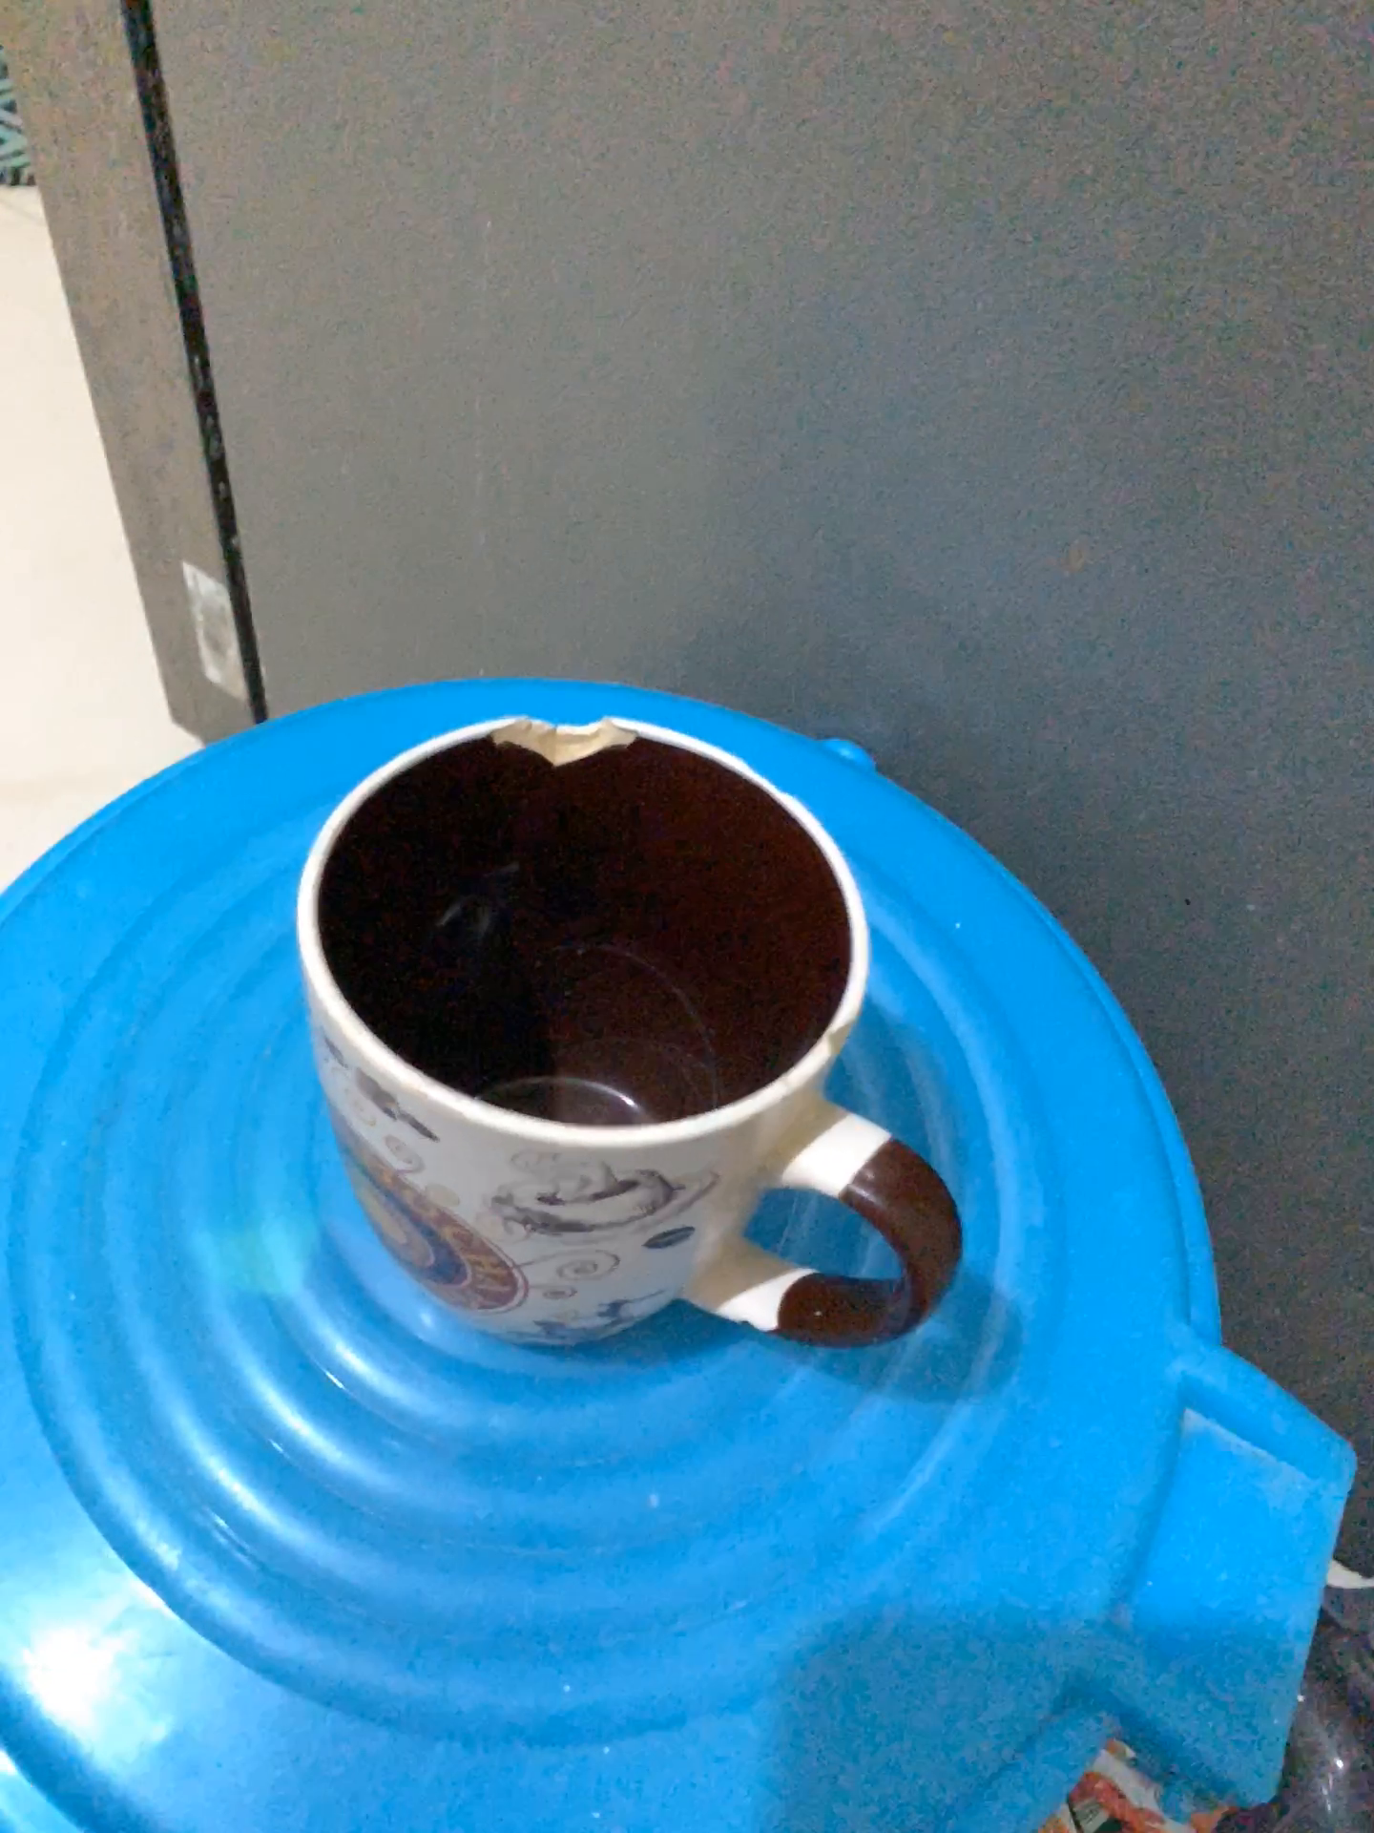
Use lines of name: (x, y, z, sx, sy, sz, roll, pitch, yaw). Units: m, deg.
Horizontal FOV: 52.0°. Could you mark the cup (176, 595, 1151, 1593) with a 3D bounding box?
cup: (-0.008, 0.024, 0.224, 0.110, 0.079, 0.080, 38, 54, 20)
